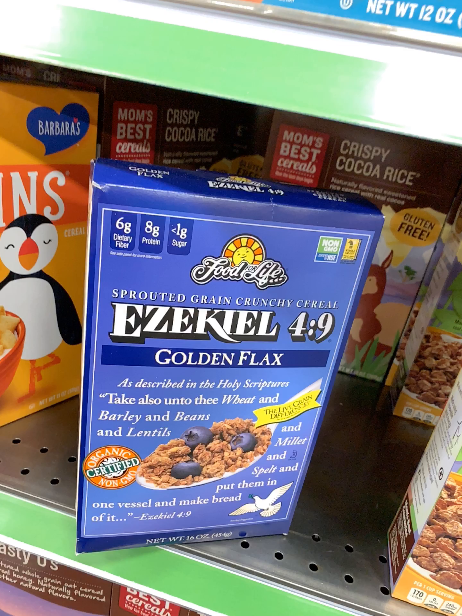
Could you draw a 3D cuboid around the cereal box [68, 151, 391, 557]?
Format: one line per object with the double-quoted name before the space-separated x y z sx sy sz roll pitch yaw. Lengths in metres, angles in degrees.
"cereal box" -0.017 0.041 0.312 0.160 0.249 0.060 3 25 -16
